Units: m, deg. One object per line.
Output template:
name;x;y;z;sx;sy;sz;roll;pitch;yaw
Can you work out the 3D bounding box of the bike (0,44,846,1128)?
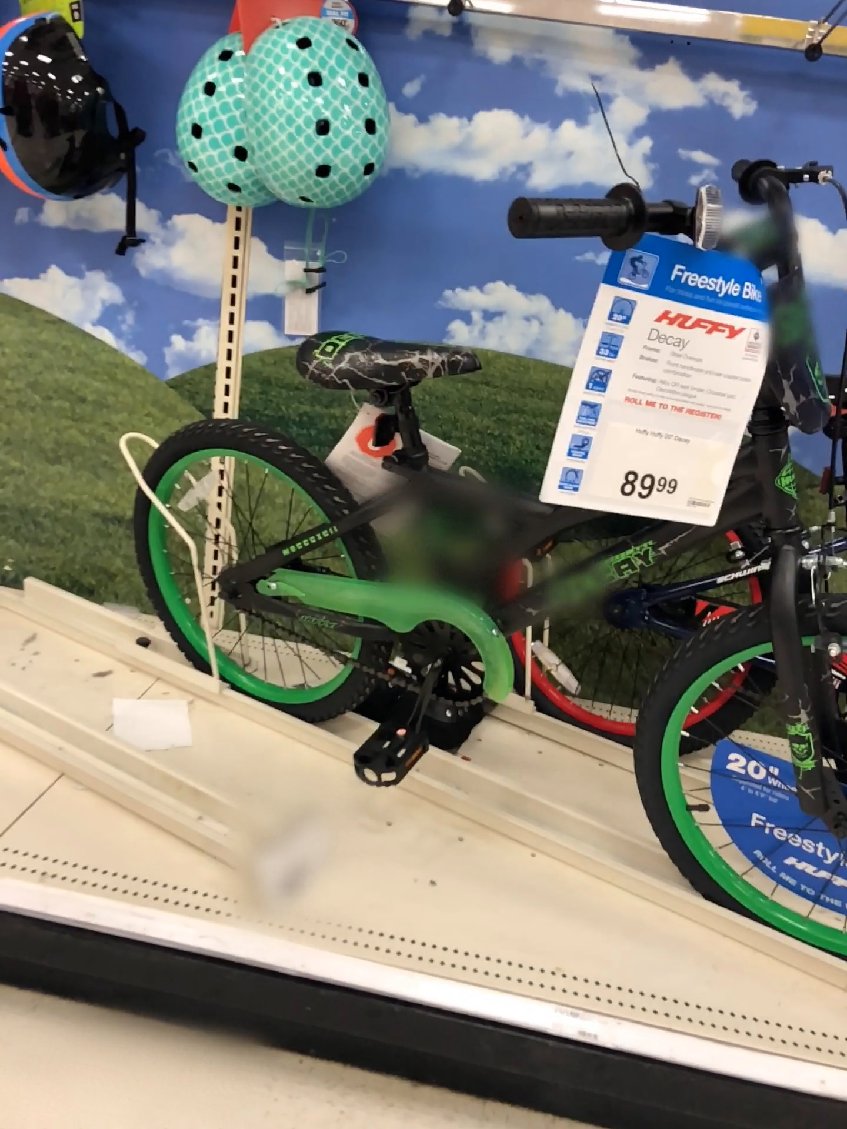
bike;0.163;-0.073;1.157;1.361;0.880;0.630;17;20;26
